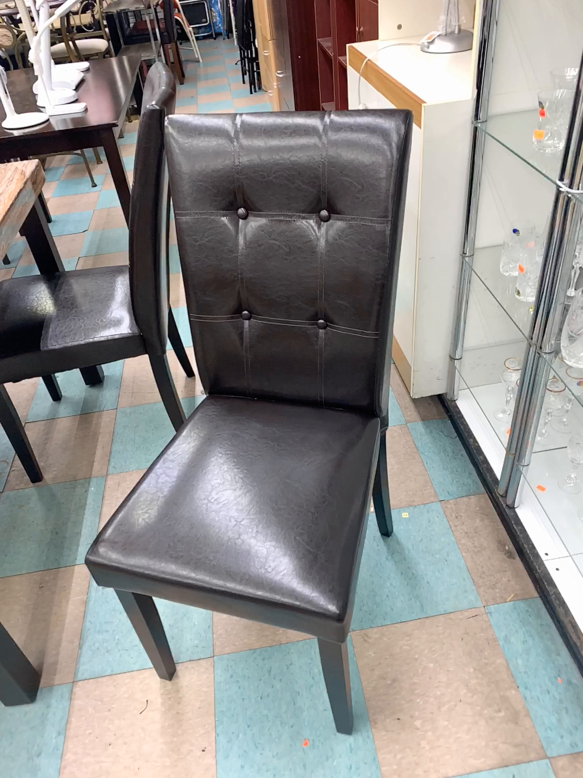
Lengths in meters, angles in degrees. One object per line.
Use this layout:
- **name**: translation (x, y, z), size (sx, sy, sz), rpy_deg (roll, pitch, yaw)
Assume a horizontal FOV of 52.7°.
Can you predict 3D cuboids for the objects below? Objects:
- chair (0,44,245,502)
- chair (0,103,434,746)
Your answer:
- **chair**: translation (-0.564, -0.319, 1.649), size (0.650, 0.955, 0.674), rpy_deg (-11, 39, -4)
- **chair**: translation (-0.042, 0.084, 1.064), size (0.470, 0.955, 0.573), rpy_deg (7, 41, 18)
